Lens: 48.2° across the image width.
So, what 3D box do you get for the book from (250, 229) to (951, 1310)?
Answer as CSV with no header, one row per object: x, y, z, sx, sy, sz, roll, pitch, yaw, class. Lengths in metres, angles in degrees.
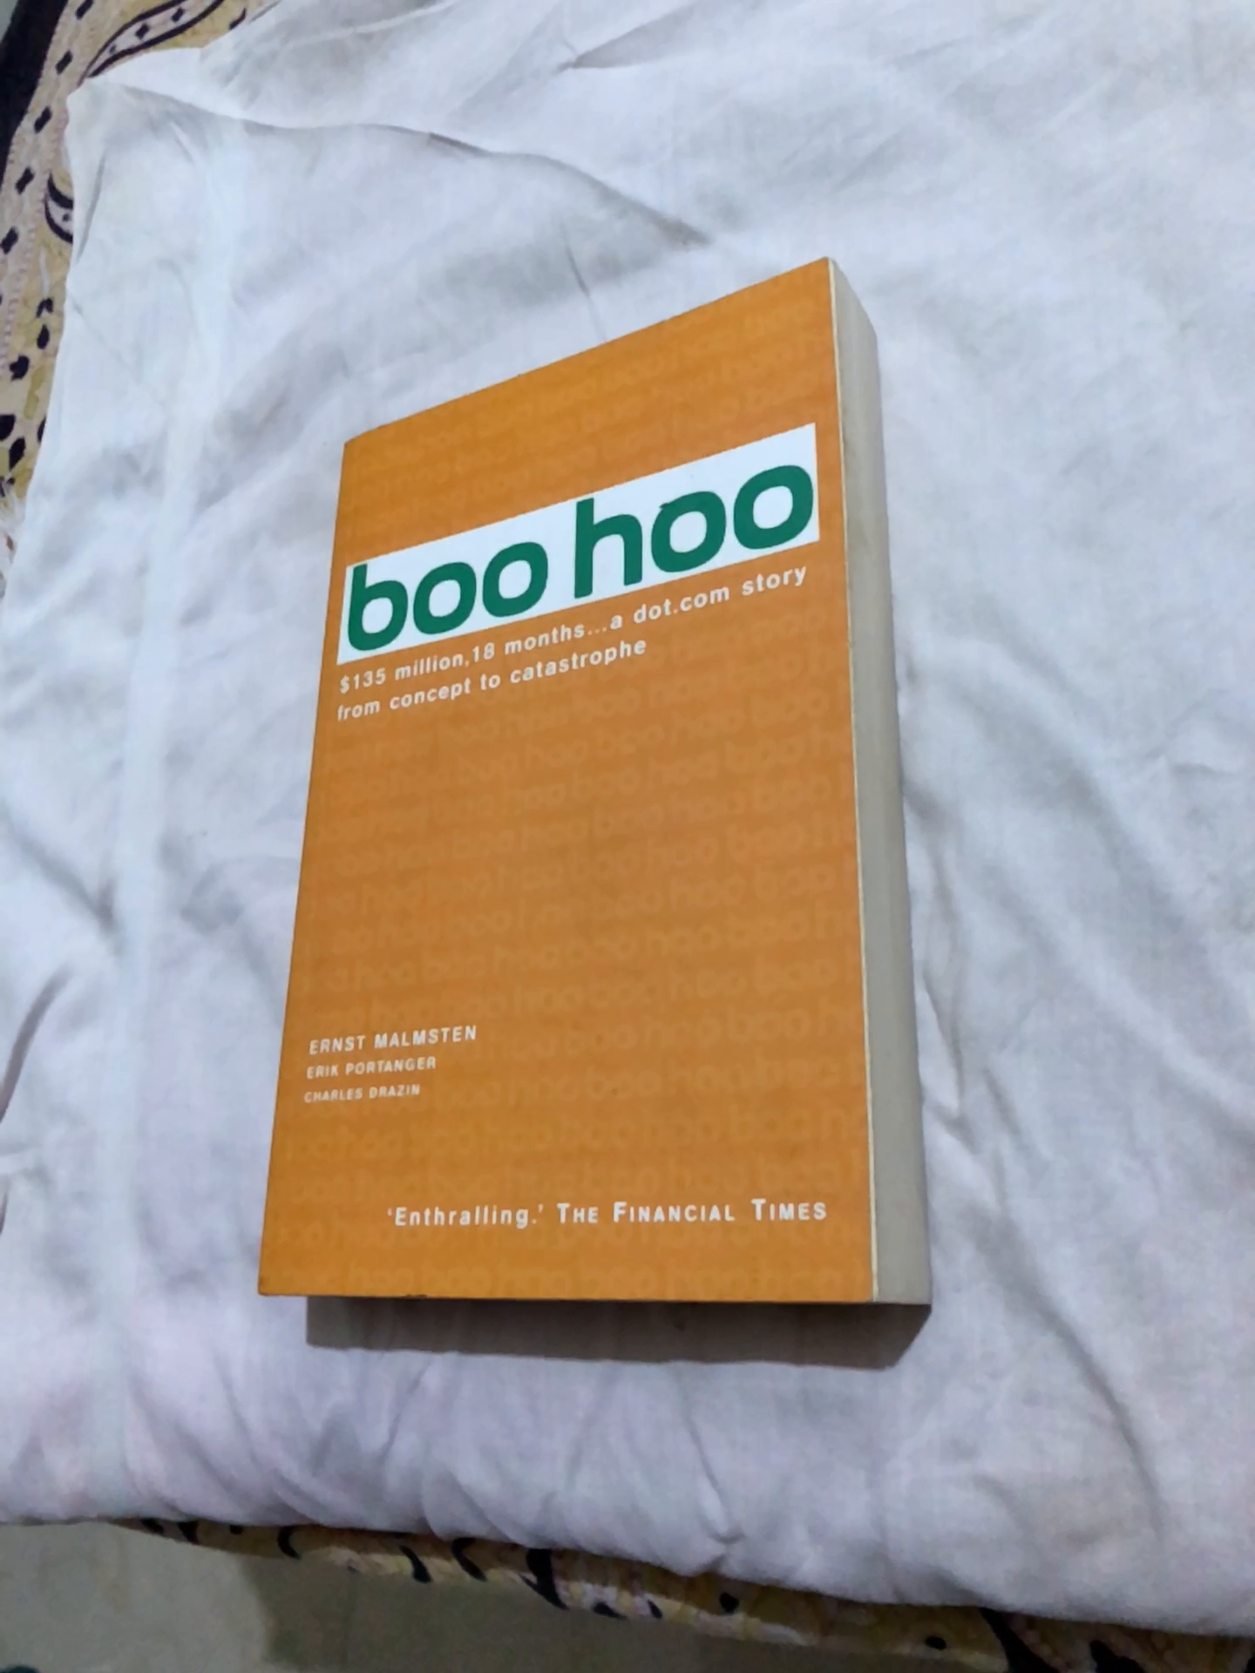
-0.008,-0.008,0.292,0.130,0.040,0.200,-11,69,31,book
